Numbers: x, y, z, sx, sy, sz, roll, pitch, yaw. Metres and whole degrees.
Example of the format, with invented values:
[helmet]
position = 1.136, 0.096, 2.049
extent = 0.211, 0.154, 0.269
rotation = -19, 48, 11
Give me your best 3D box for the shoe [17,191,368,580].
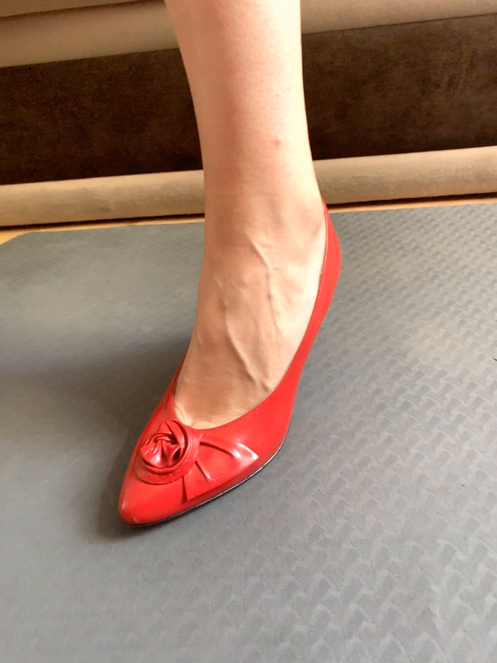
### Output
[shoe]
position = -0.007, 0.010, 0.307
extent = 0.080, 0.109, 0.211
rotation = 15, 40, 29
